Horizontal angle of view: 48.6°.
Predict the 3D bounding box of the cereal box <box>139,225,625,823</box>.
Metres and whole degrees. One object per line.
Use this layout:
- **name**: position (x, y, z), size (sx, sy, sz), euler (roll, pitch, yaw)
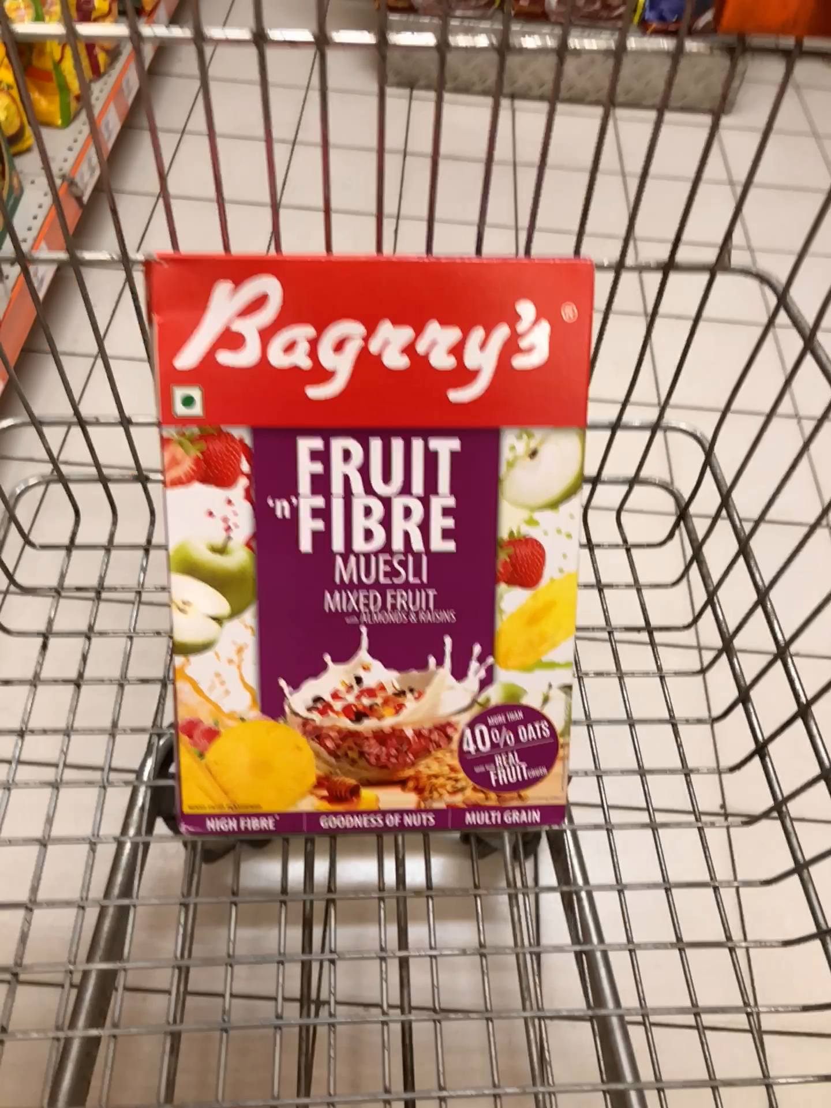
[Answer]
- **cereal box**: position (-0.016, -0.012, 0.419), size (0.190, 0.249, 0.070), euler (0, 12, -4)
